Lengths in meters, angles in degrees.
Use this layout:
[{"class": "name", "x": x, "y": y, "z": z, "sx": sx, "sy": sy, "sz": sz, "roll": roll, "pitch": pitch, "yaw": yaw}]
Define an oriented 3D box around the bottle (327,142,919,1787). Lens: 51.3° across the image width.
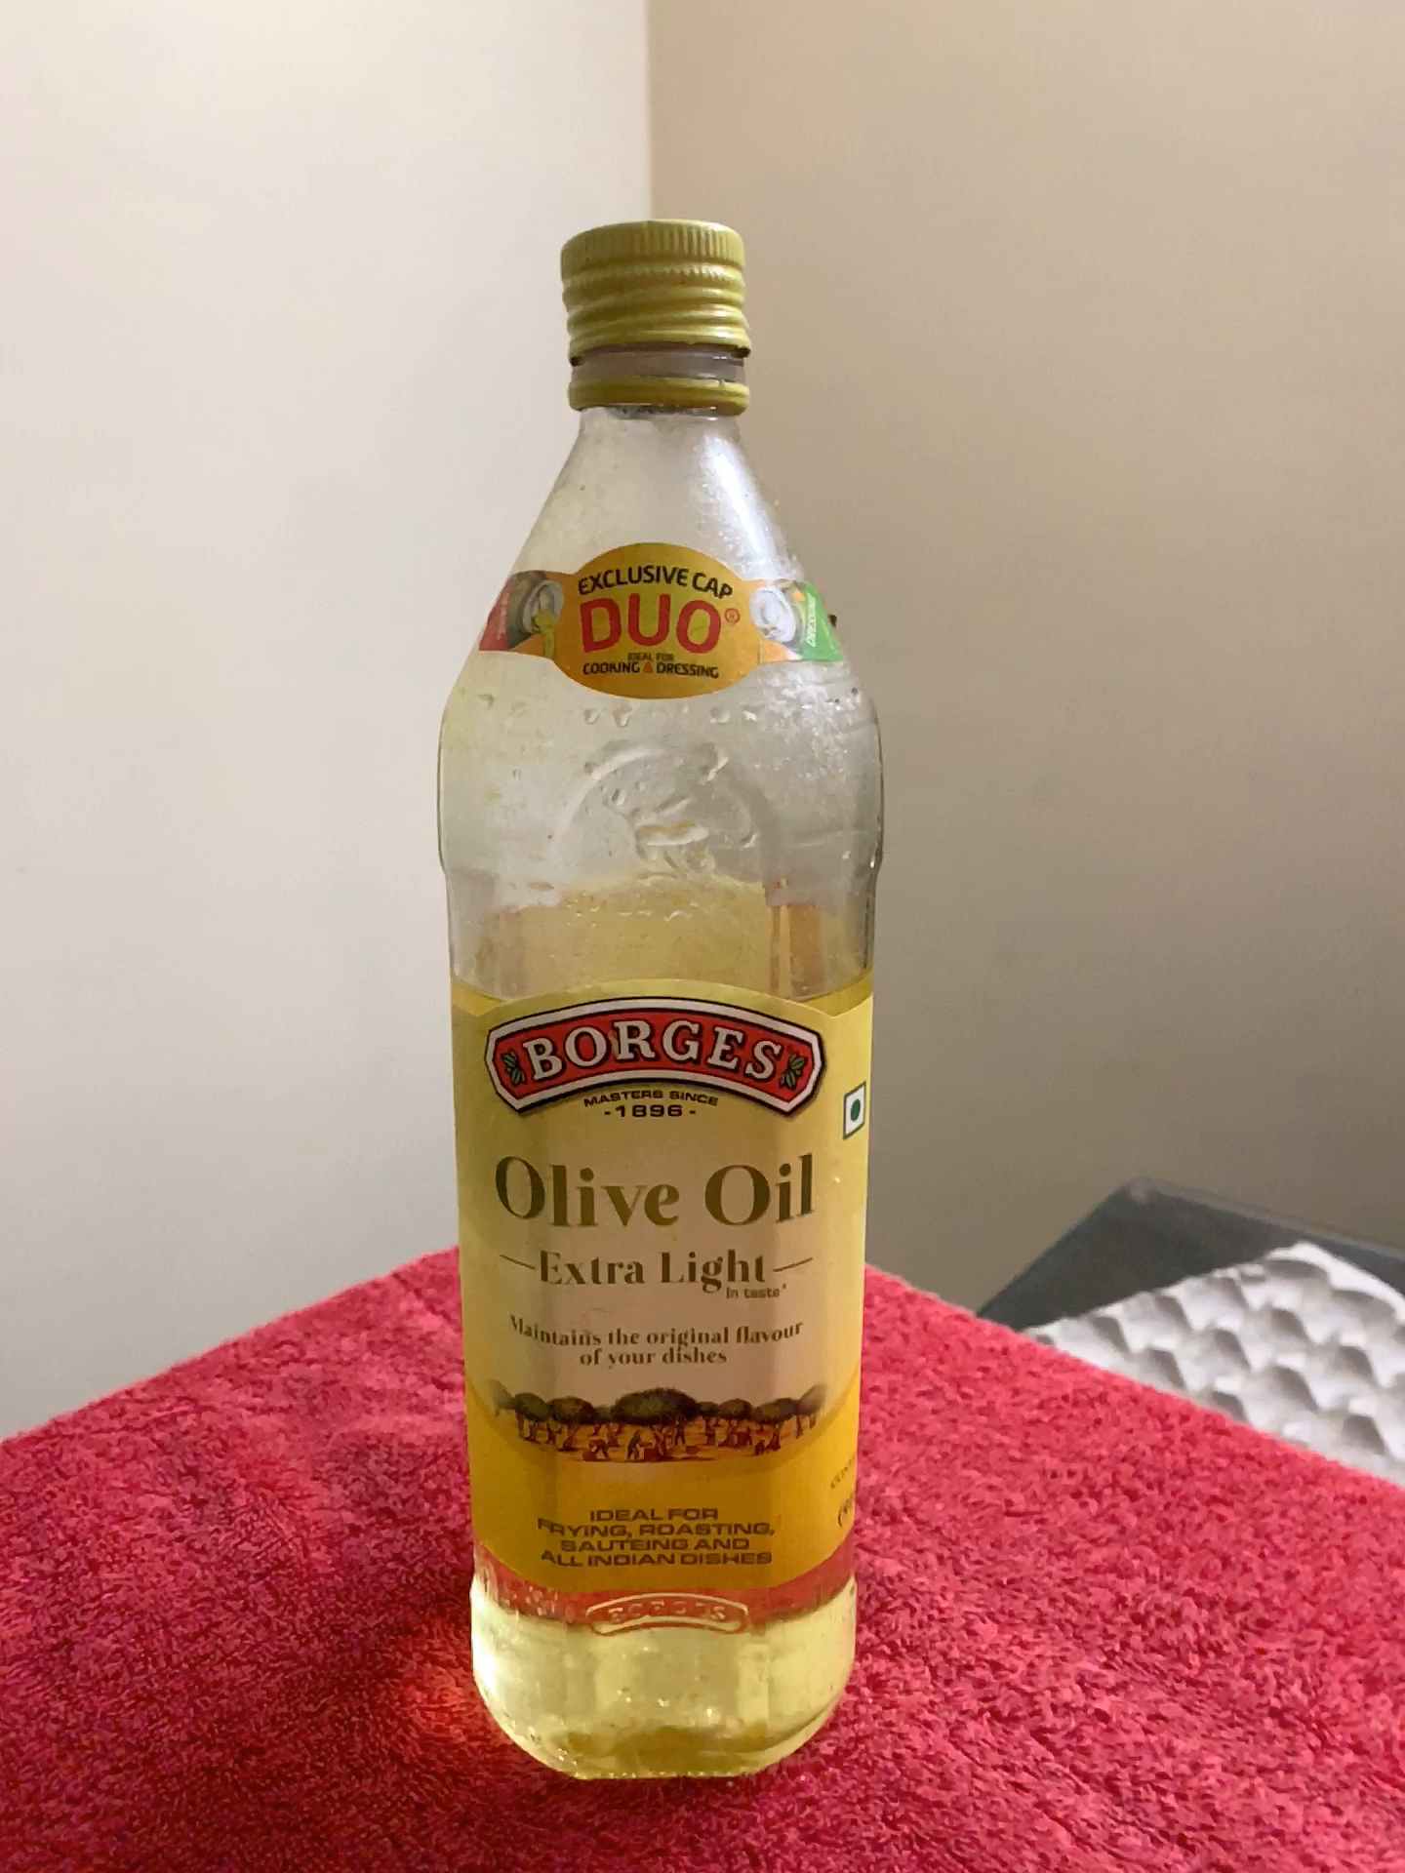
[{"class": "bottle", "x": -0.008, "y": 0.014, "z": 0.265, "sx": 0.080, "sy": 0.269, "sz": 0.070, "roll": 0, "pitch": 15, "yaw": 2}]
